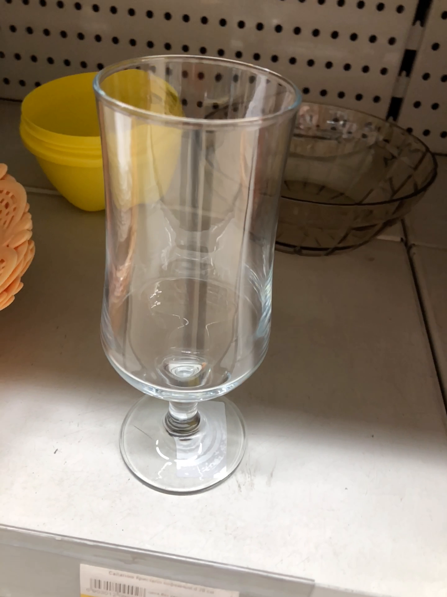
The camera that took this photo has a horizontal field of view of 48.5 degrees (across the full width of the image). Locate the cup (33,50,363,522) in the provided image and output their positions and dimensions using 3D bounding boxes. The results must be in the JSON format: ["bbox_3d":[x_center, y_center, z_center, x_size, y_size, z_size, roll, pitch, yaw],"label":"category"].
[{"bbox_3d":[-0.018,0.002,0.215,0.079,0.177,0.079,3,40,-3],"label":"cup"}]
